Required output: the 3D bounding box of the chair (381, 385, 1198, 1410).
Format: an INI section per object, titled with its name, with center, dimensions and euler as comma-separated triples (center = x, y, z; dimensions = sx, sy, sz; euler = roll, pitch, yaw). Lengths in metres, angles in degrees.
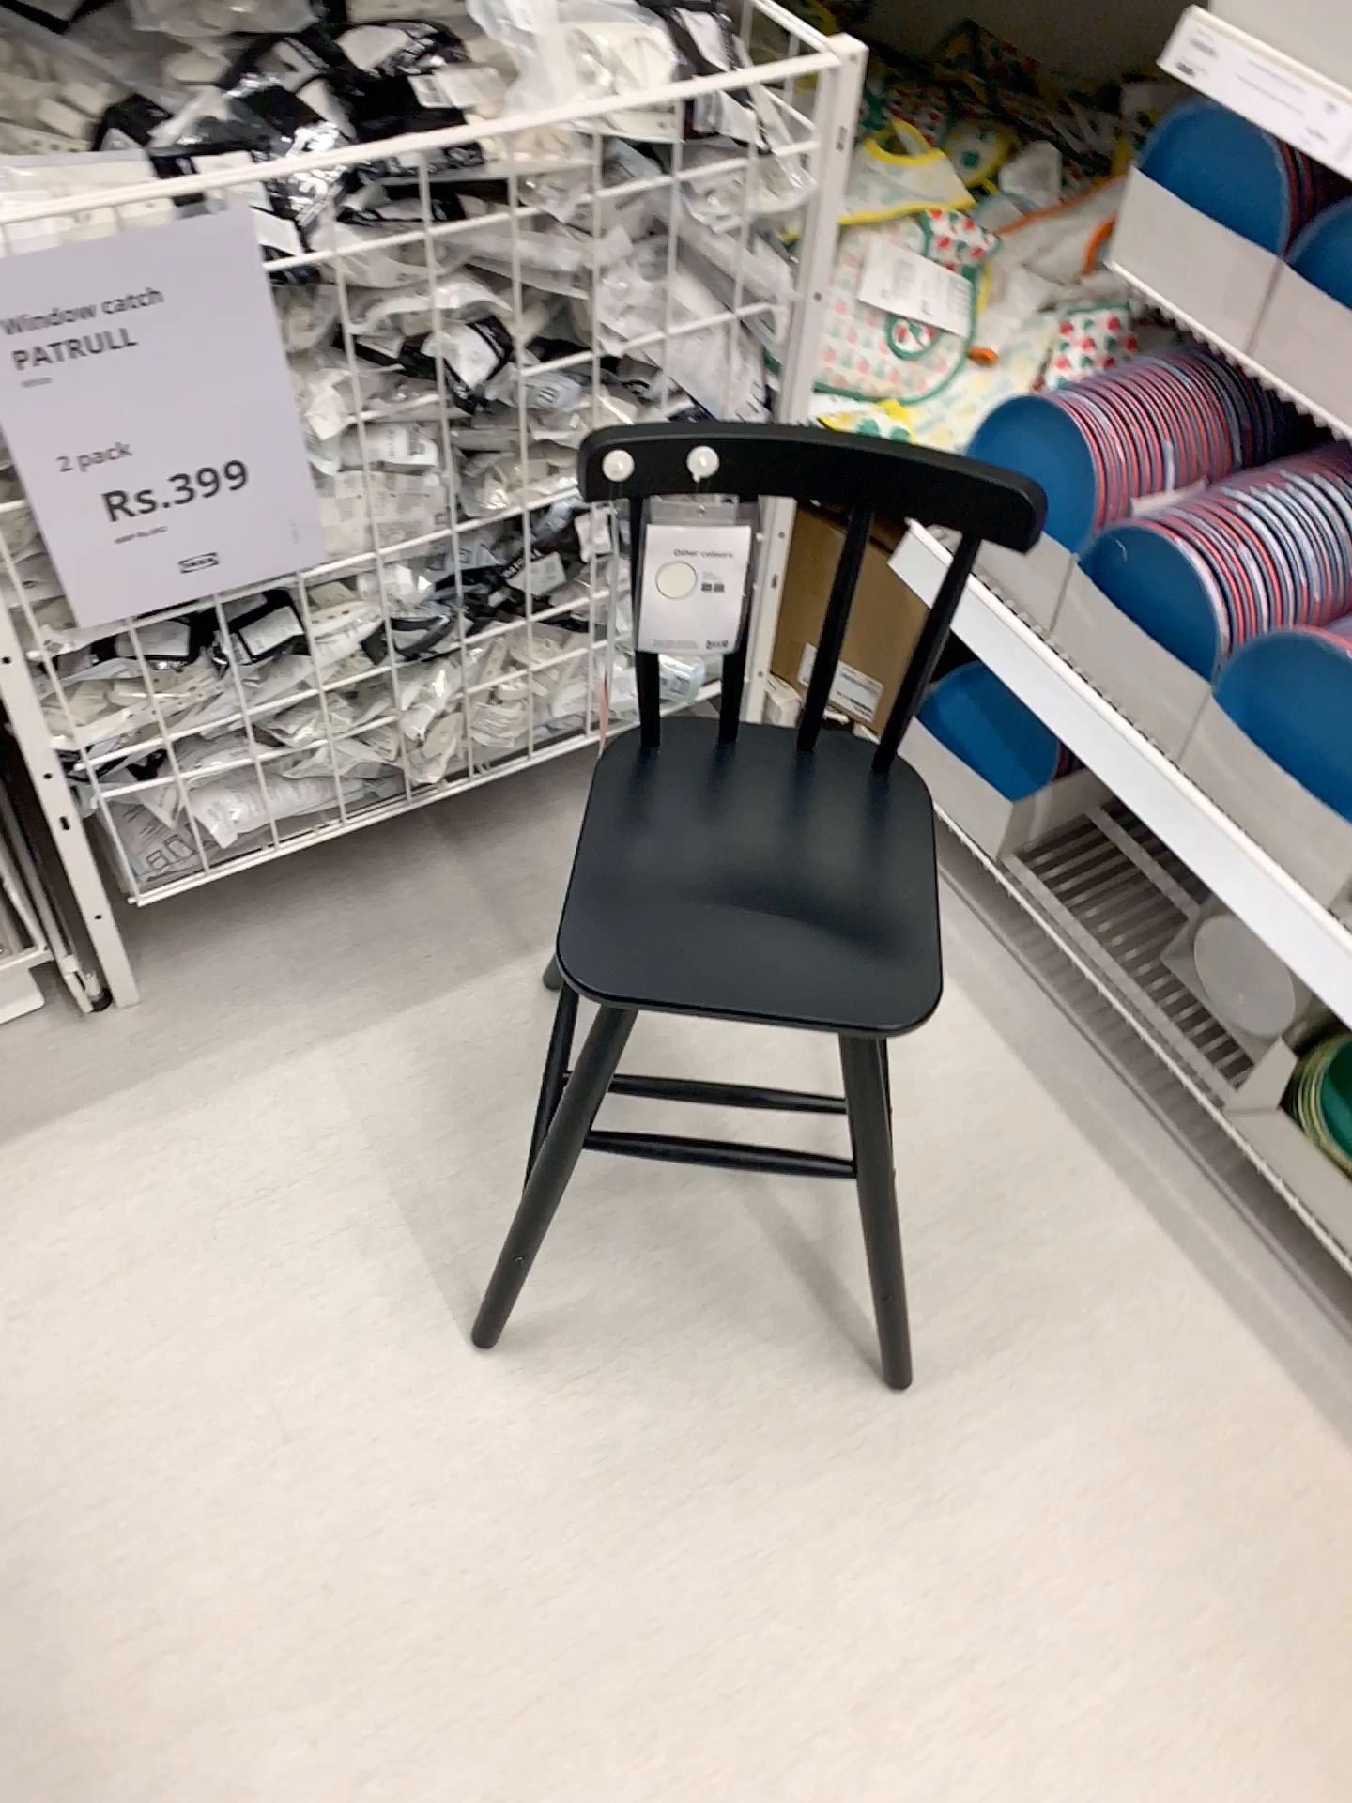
[chair]
center = 0.060, 0.044, 1.114
dimensions = 0.420, 0.688, 0.461
euler = 7, 52, 1
